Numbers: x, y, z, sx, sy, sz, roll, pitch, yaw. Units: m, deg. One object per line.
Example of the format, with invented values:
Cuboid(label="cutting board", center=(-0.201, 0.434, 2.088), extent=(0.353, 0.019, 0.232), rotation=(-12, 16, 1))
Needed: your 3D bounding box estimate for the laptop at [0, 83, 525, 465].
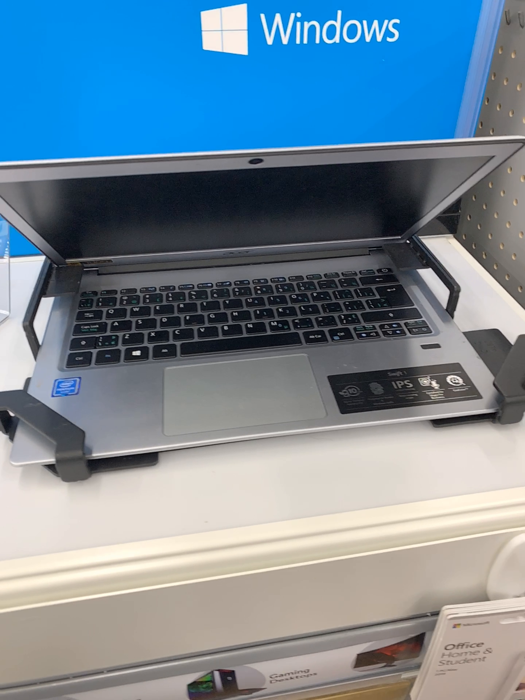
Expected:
Cuboid(label="laptop", center=(-0.009, -0.071, 0.358), extent=(0.305, 0.141, 0.214), rotation=(-5, 38, -7))
